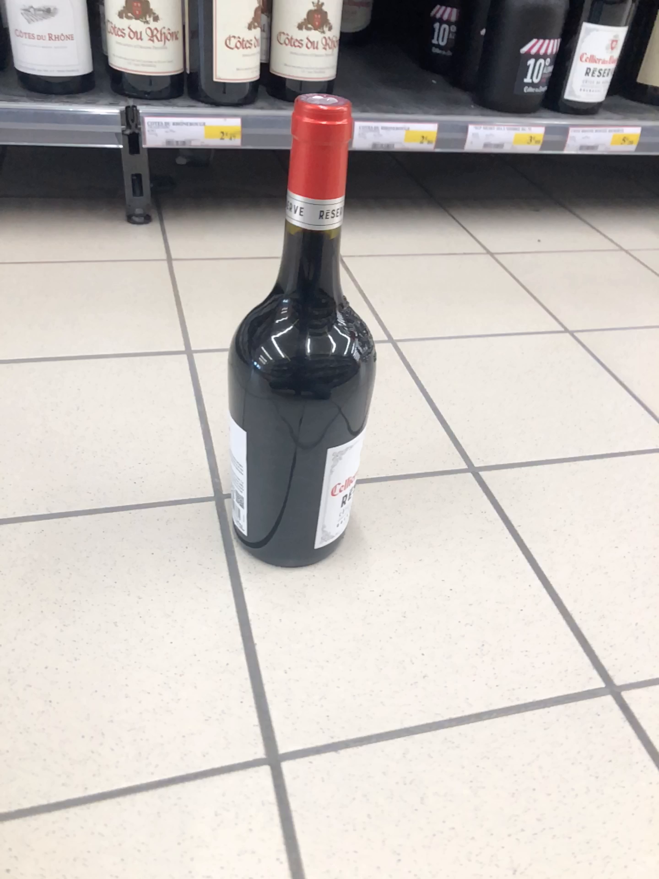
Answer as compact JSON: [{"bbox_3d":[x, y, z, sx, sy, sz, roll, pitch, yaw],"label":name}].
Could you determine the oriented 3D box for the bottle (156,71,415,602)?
[{"bbox_3d":[-0.026,-0.048,0.417,0.100,0.268,0.111,10,36,4],"label":"bottle"}]
